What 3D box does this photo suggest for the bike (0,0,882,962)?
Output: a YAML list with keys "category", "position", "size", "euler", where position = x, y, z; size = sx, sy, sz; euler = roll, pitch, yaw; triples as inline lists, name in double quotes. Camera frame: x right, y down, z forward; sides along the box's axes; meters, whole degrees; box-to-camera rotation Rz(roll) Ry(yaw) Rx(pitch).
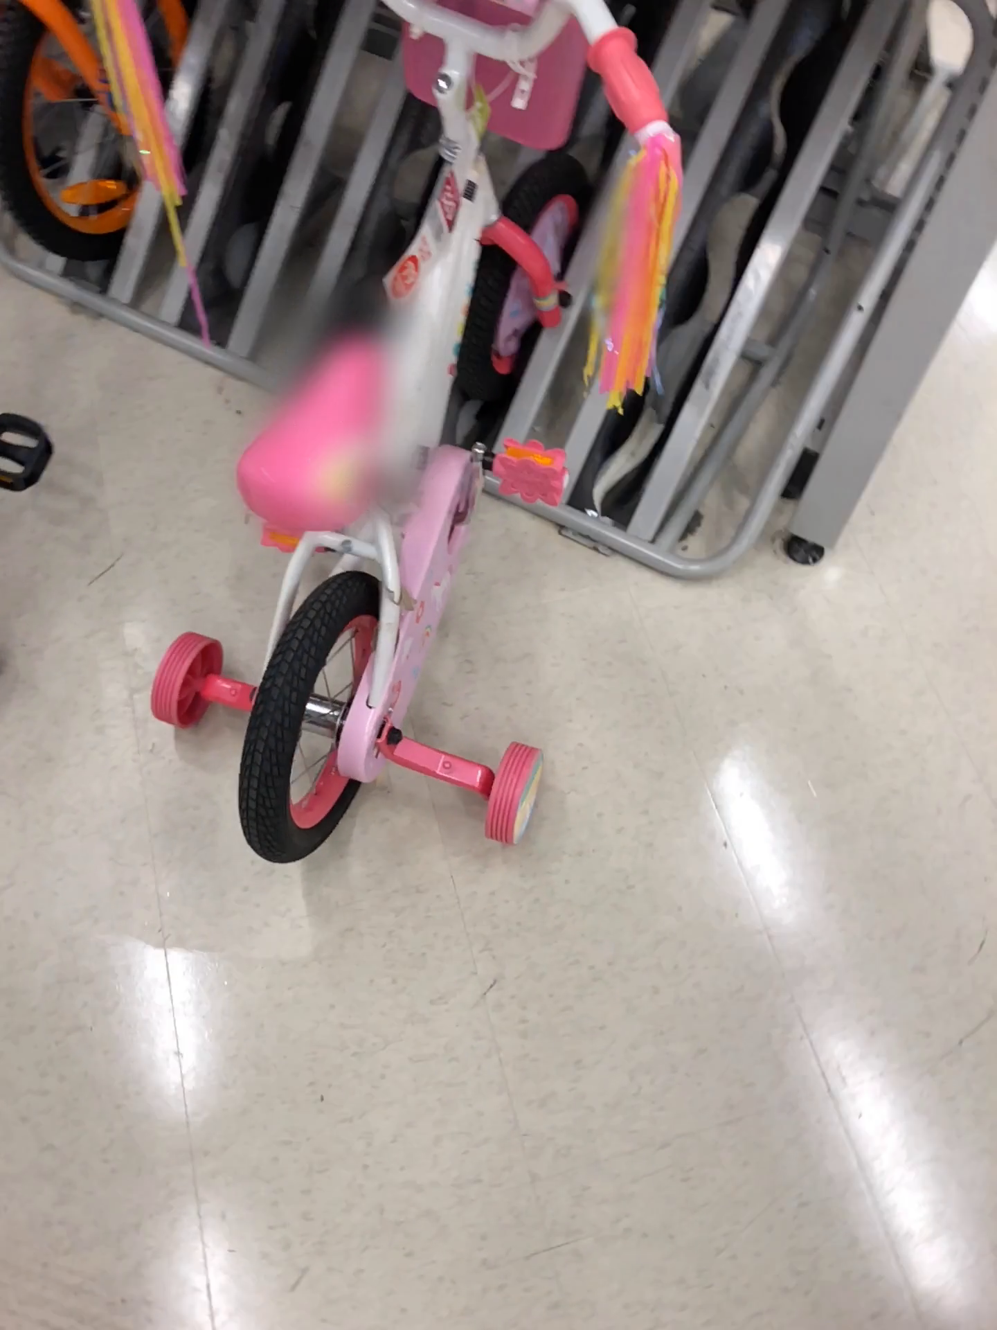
- category: "bike"
  position: [-0.077, -0.326, 1.031]
  size: [0.516, 0.592, 0.945]
  euler: [17, 63, 8]
